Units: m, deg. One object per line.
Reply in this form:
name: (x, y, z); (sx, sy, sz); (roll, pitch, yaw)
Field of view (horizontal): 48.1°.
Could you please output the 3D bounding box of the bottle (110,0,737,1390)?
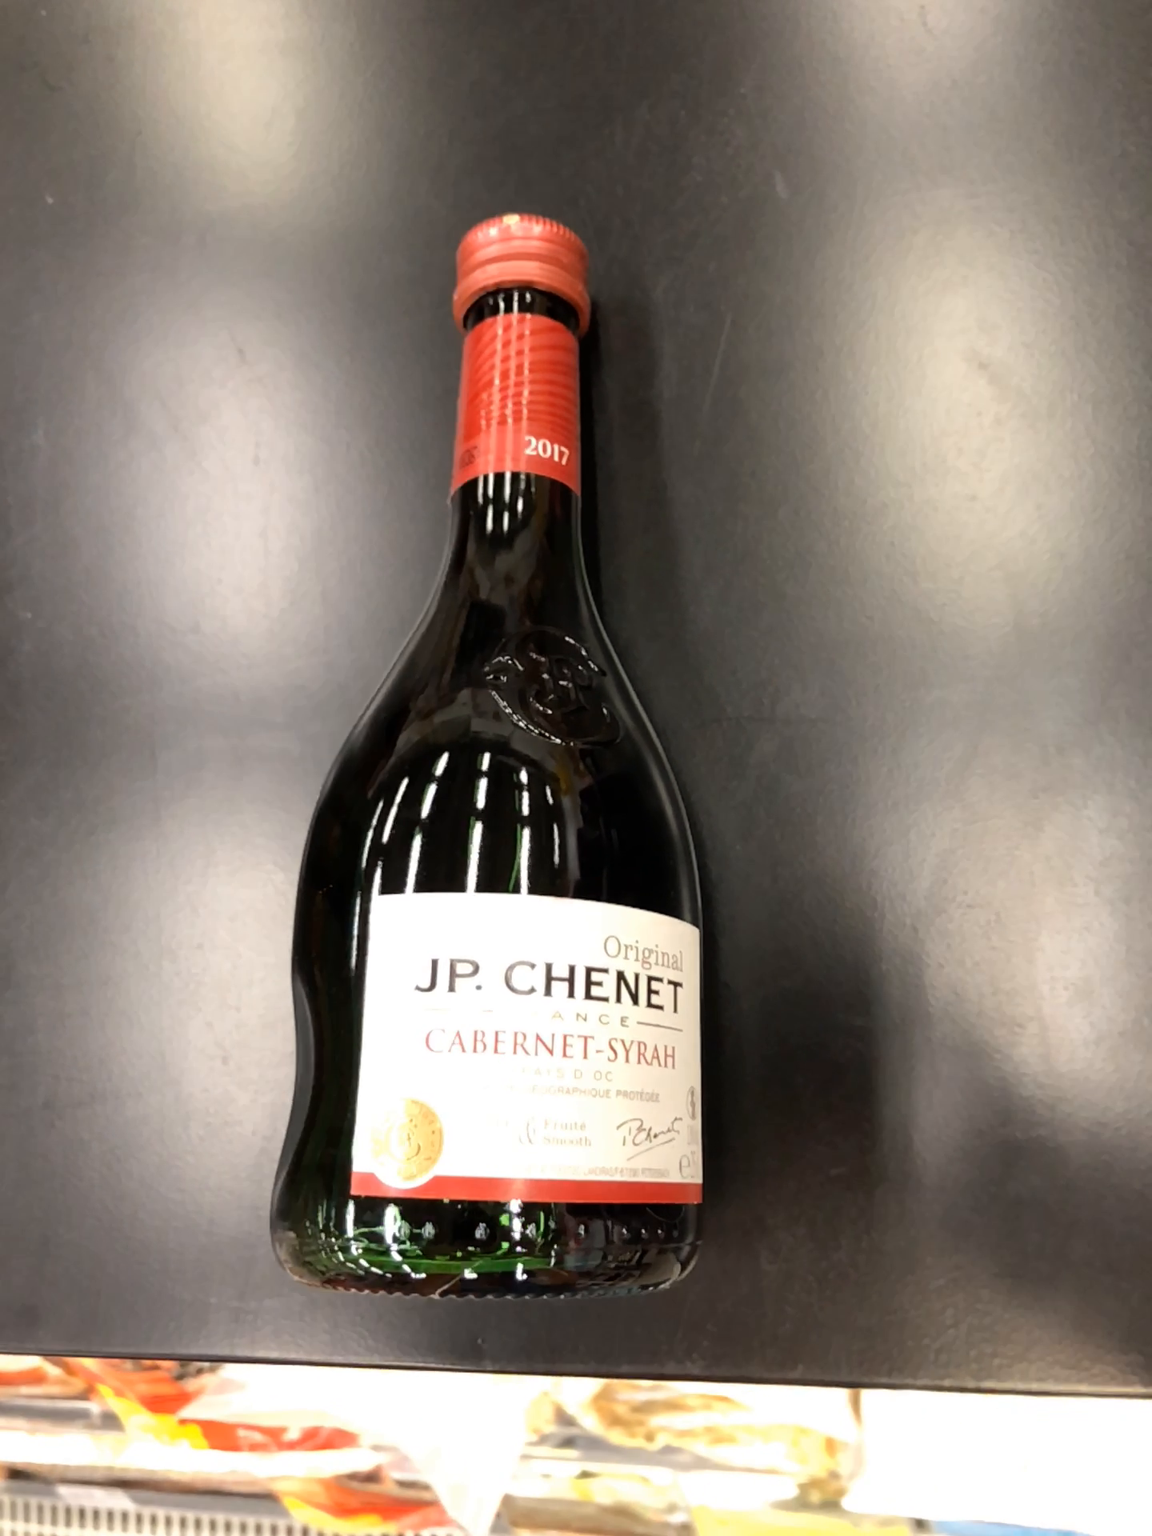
bottle: (-0.016, -0.020, 0.203); (0.070, 0.060, 0.200); (-3, 77, 15)
